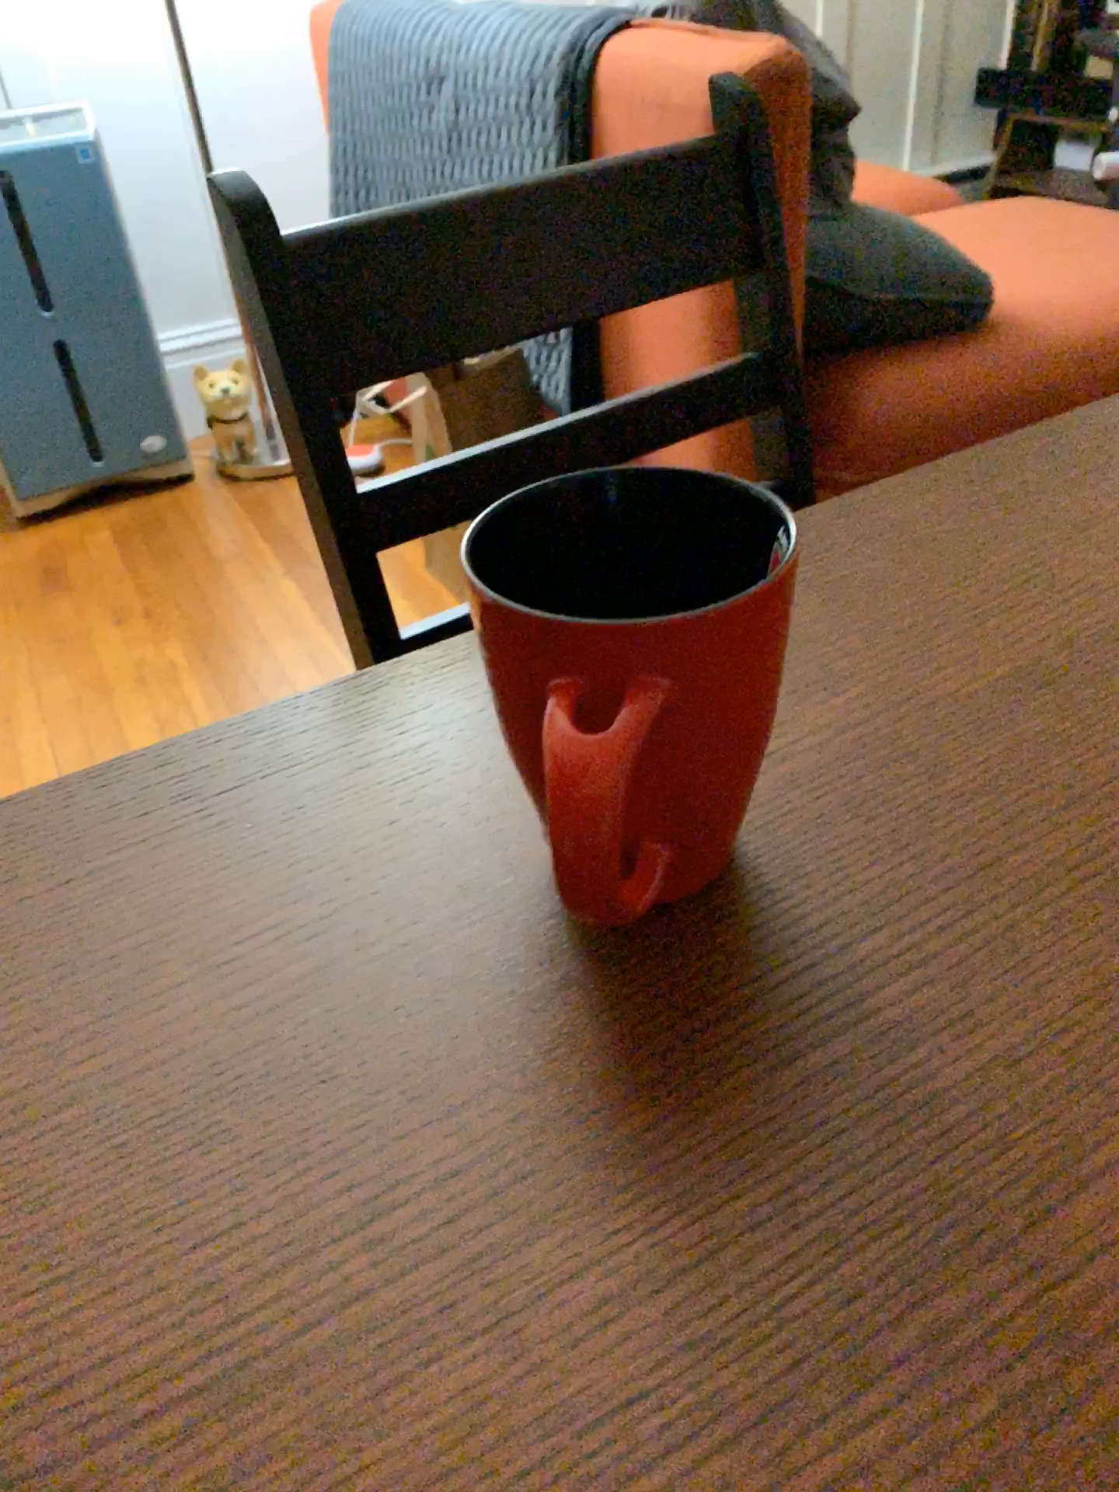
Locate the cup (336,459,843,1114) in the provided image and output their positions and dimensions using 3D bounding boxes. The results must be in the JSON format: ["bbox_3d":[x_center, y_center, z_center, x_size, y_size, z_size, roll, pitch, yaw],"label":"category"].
[{"bbox_3d":[0.019,0.001,0.295,0.090,0.099,0.131,5,38,14],"label":"cup"}]
